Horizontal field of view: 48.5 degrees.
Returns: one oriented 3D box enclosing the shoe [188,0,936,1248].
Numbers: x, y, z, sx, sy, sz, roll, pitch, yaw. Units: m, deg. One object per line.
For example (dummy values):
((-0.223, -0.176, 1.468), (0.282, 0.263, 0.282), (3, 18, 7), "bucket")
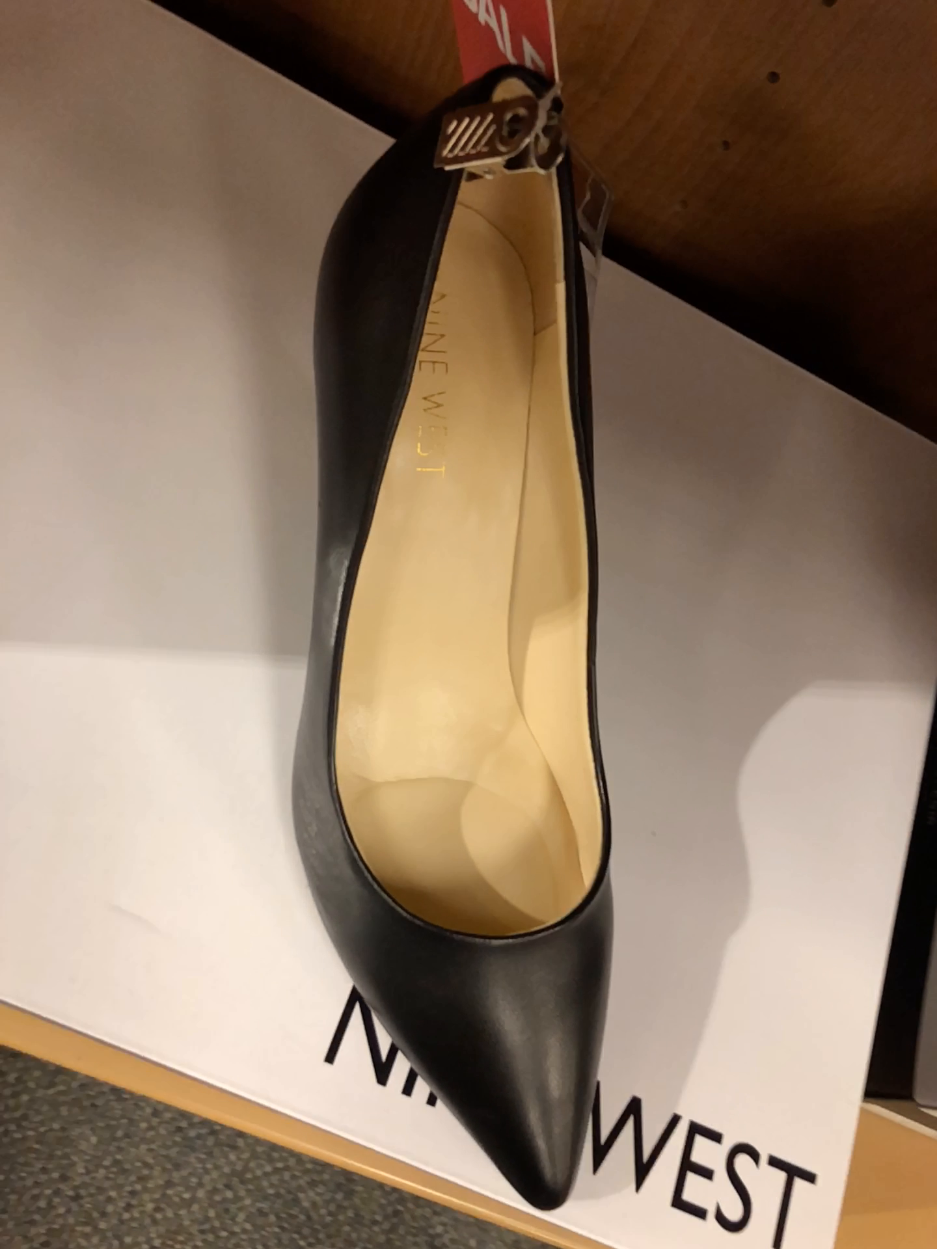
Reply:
((0.004, 0.013, 0.245), (0.096, 0.160, 0.255), (-7, 74, -20), "shoe")
